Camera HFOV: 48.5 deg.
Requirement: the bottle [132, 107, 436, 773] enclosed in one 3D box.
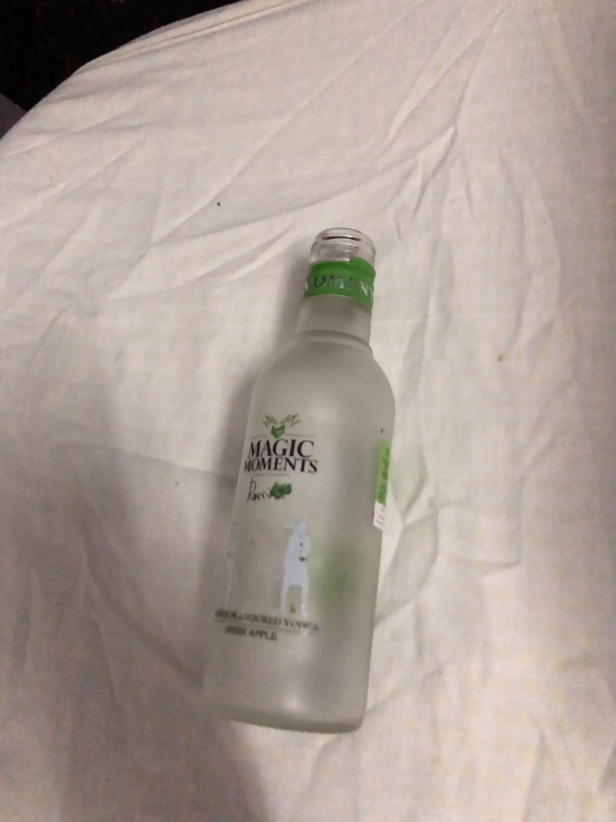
[{"bbox_3d":[0.000,0.005,0.219,0.060,0.060,0.180,0,76,22],"label":"bottle"}]
